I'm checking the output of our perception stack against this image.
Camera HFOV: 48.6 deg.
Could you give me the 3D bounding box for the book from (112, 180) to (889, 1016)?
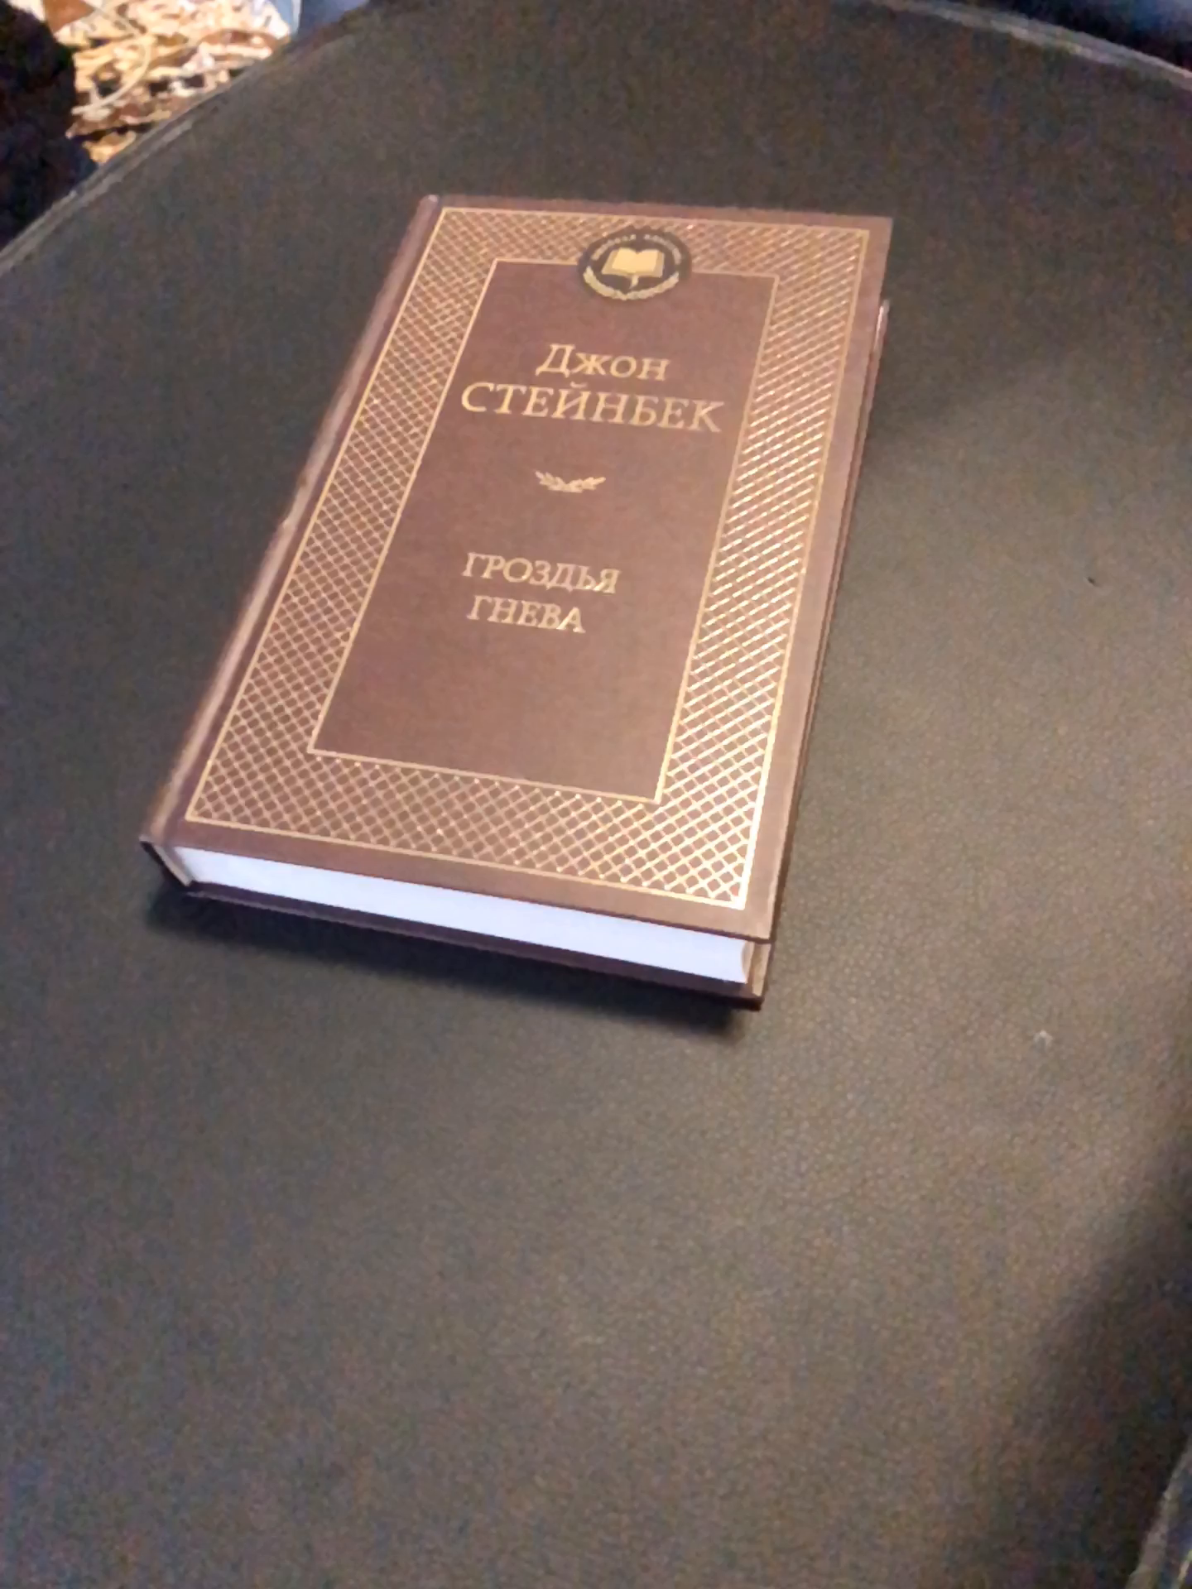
[{"bbox_3d":[-0.010,-0.059,0.312,0.130,0.040,0.200,8,63,12],"label":"book"}]
